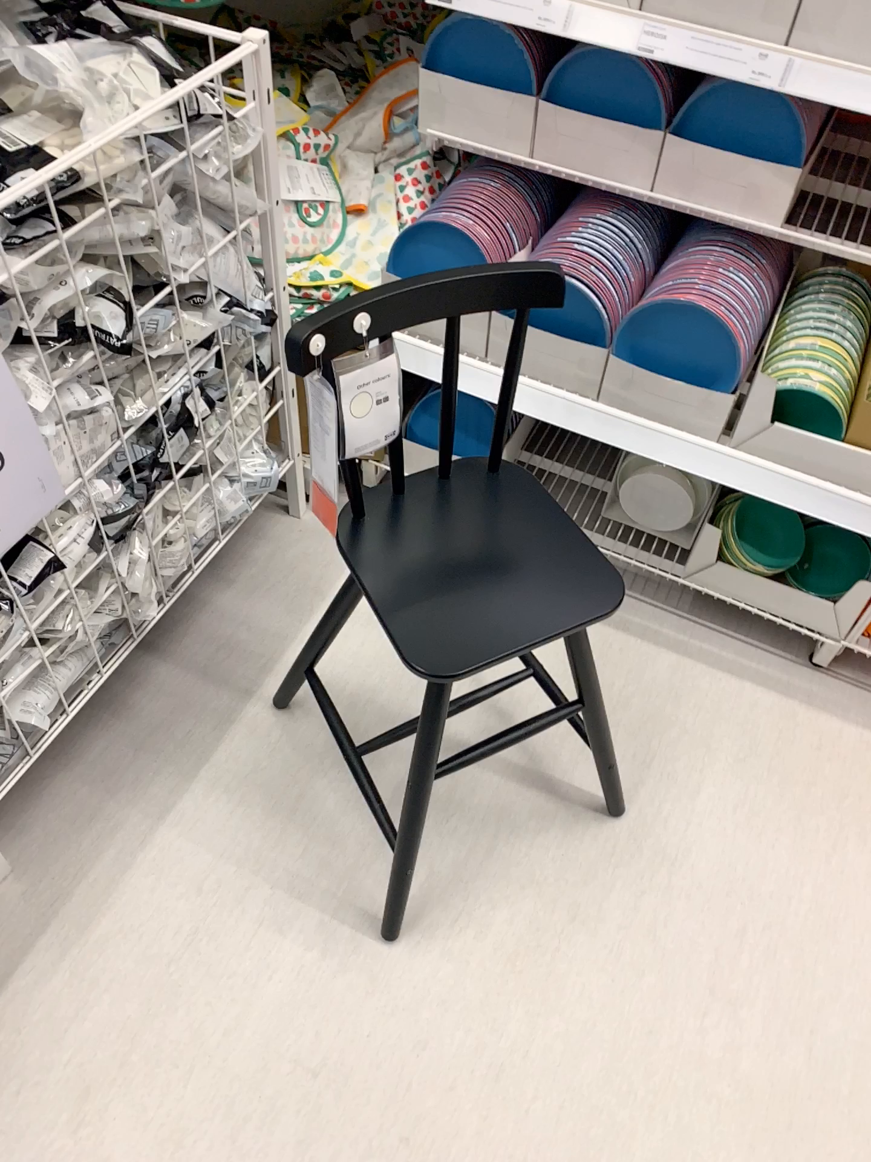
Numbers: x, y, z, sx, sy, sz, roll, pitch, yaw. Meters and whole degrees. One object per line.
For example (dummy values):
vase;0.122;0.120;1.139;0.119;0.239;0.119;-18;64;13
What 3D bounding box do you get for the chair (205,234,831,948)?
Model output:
chair;0.038;0.042;1.106;0.420;0.688;0.461;-20;56;-20
